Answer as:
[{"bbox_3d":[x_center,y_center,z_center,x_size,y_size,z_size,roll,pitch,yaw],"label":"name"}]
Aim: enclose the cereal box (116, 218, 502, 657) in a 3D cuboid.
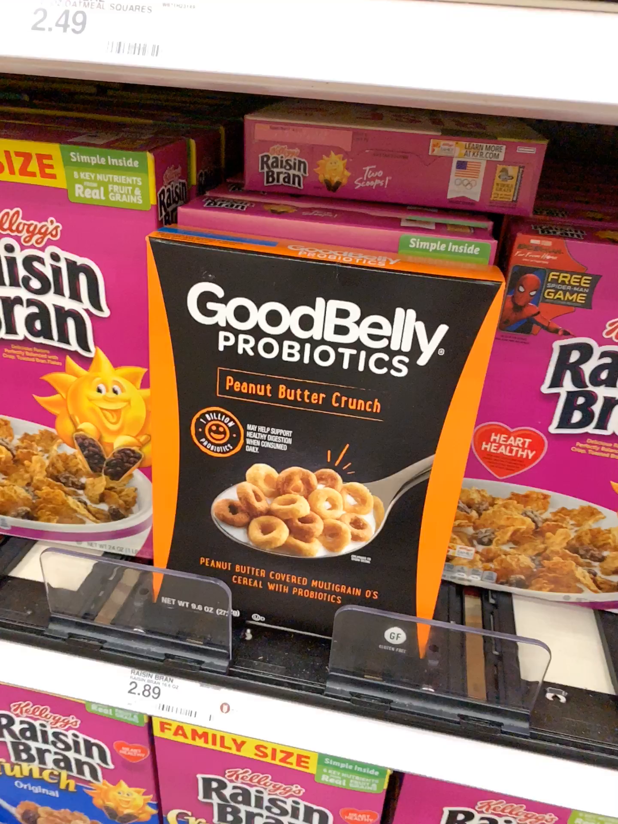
[{"bbox_3d":[-0.010,0.021,0.398,0.200,0.249,0.050,8,24,7],"label":"cereal box"}]
